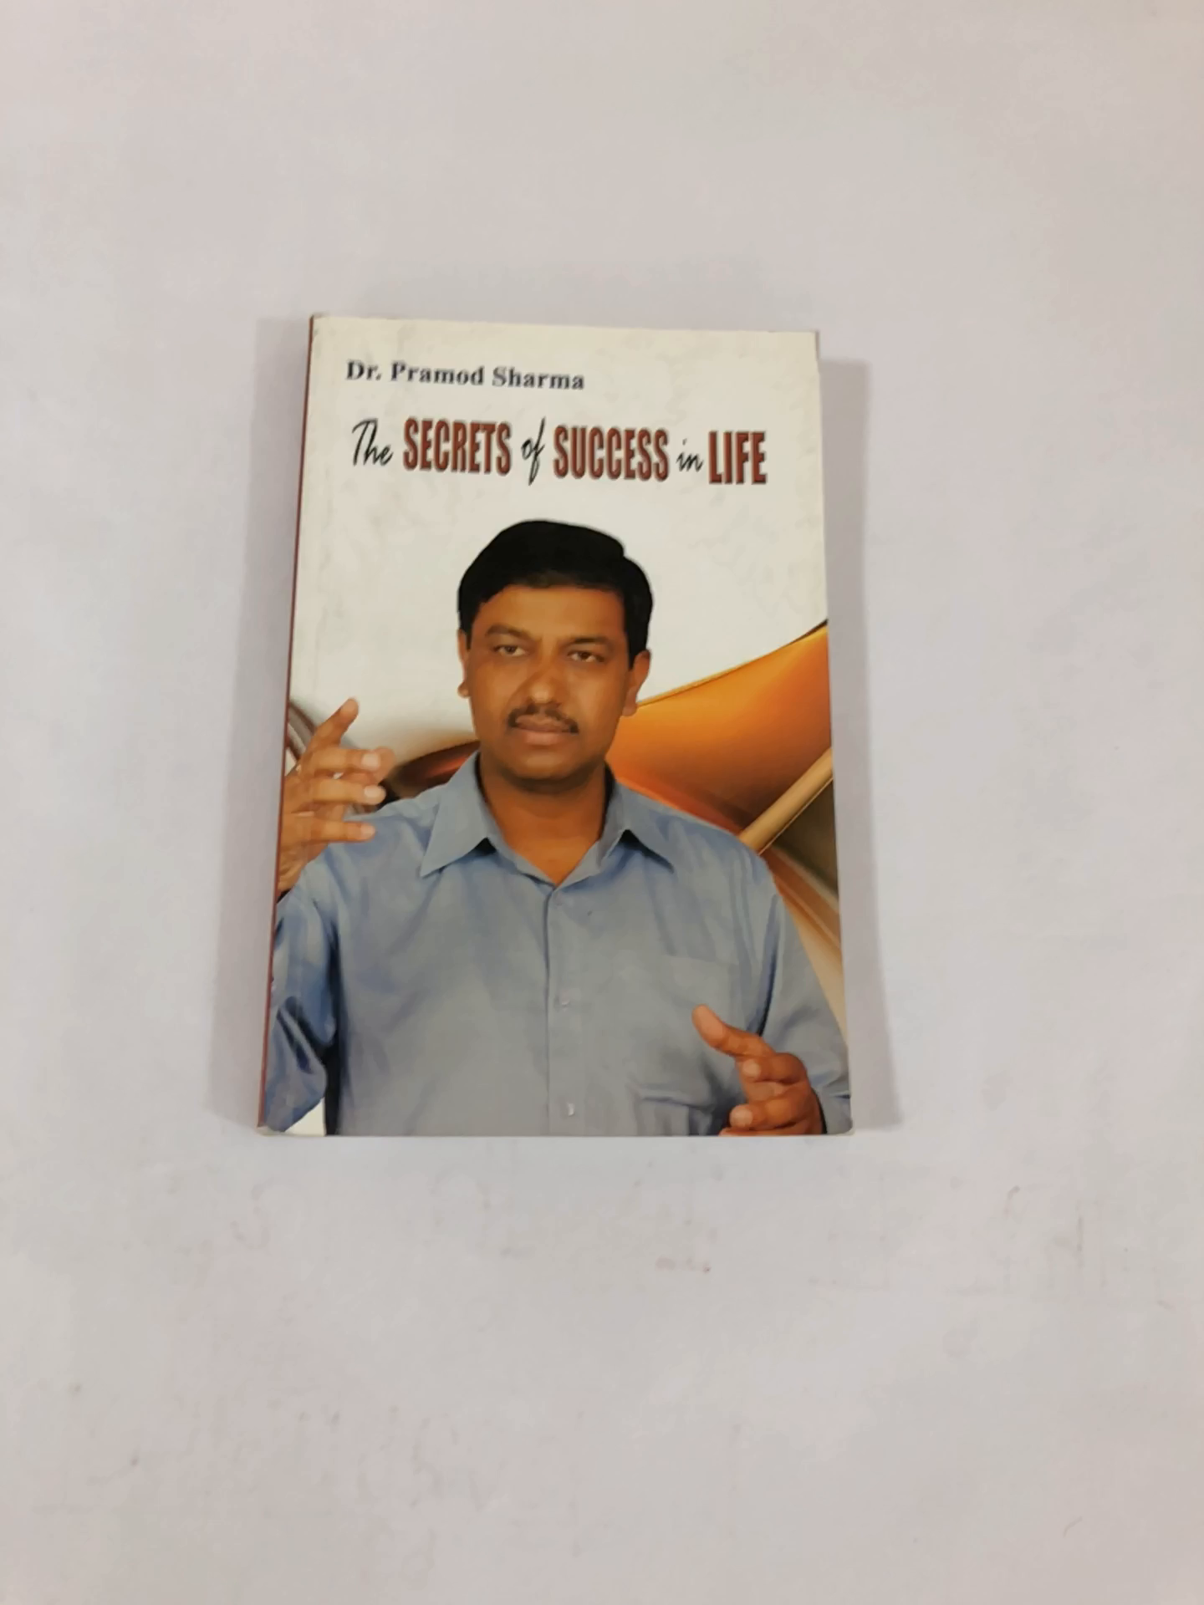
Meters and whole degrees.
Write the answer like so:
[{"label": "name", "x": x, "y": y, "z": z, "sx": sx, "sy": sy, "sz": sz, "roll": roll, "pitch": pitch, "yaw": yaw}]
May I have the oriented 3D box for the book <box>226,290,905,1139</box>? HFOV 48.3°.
[{"label": "book", "x": -0.009, "y": -0.026, "z": 0.332, "sx": 0.150, "sy": 0.020, "sz": 0.210, "roll": 1, "pitch": 75, "yaw": -5}]
